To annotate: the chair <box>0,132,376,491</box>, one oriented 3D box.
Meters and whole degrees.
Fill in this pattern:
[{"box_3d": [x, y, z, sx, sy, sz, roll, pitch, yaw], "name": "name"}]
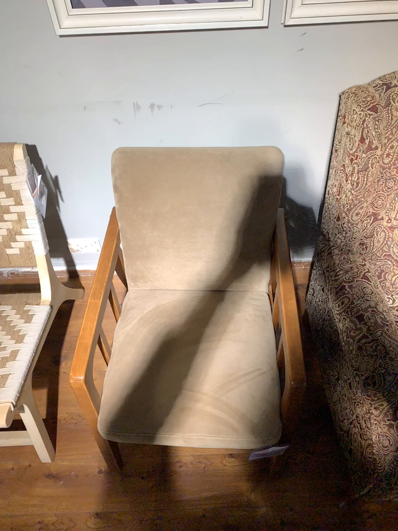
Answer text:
[{"box_3d": [-0.024, 0.146, 1.298, 0.720, 0.738, 0.872, 0, 50, 2], "name": "chair"}]
